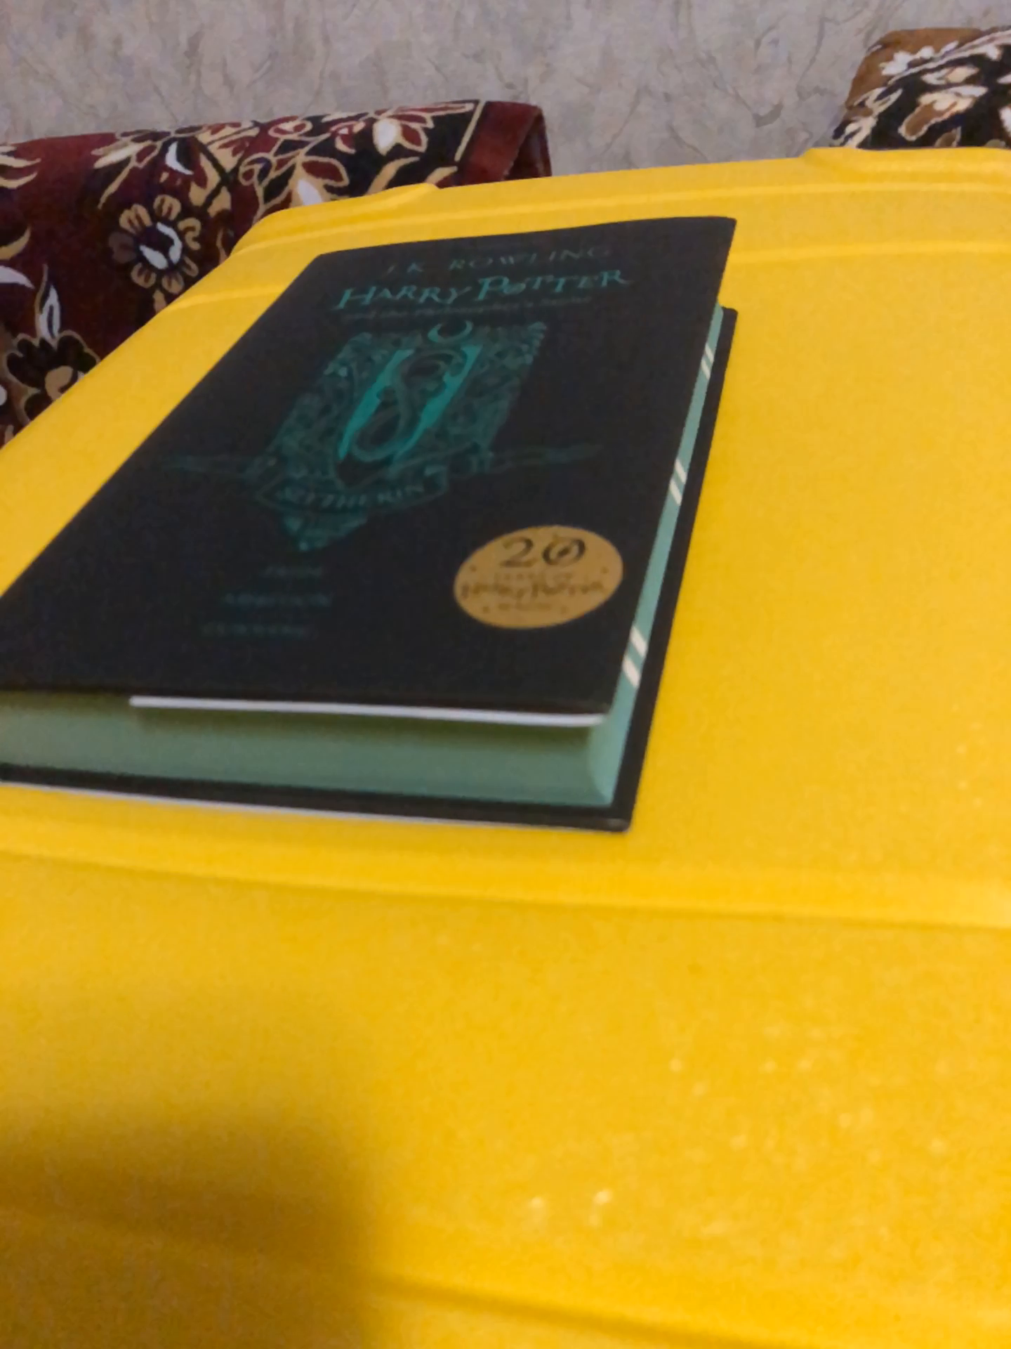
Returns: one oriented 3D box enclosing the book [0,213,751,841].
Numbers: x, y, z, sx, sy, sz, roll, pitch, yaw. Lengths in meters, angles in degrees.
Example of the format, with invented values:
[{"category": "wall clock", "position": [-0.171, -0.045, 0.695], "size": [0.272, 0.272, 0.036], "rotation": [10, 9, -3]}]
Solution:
[{"category": "book", "position": [-0.020, -0.053, 0.264], "size": [0.136, 0.030, 0.206], "rotation": [2, 41, 17]}]
